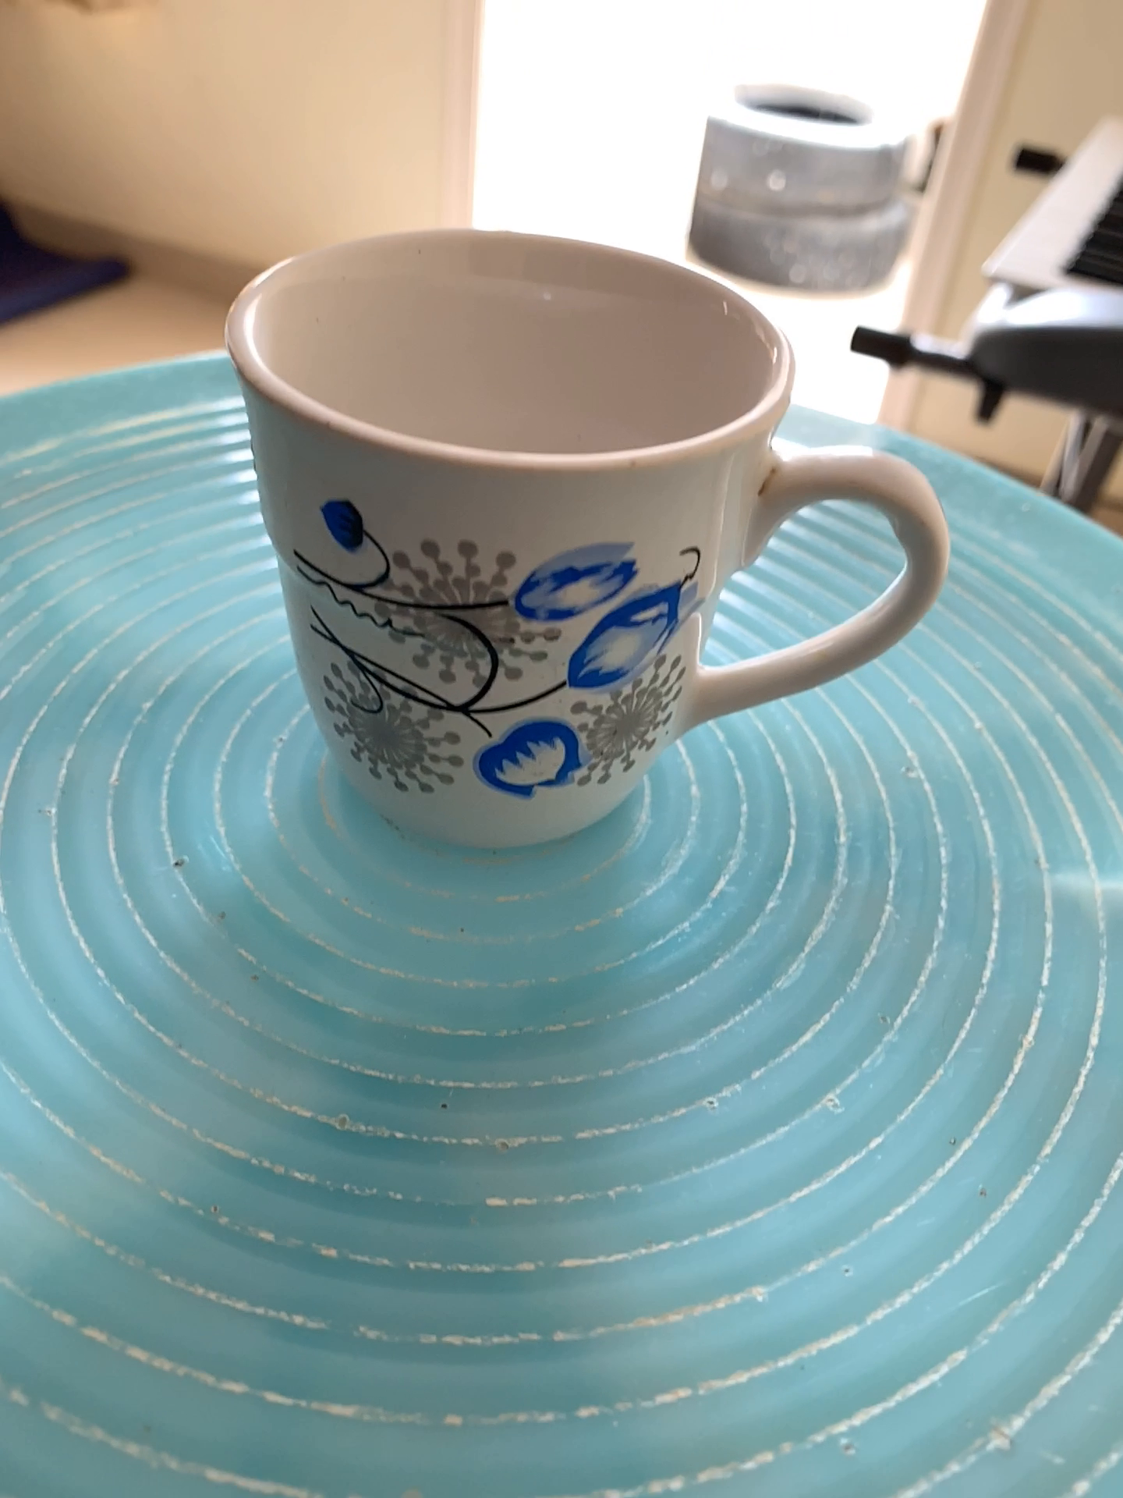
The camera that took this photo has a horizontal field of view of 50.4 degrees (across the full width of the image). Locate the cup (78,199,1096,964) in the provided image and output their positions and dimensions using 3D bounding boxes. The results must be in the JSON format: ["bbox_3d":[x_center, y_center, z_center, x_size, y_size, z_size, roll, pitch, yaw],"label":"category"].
[{"bbox_3d":[0.001,-0.023,0.151,0.090,0.060,0.071,5,40,-2],"label":"cup"}]
